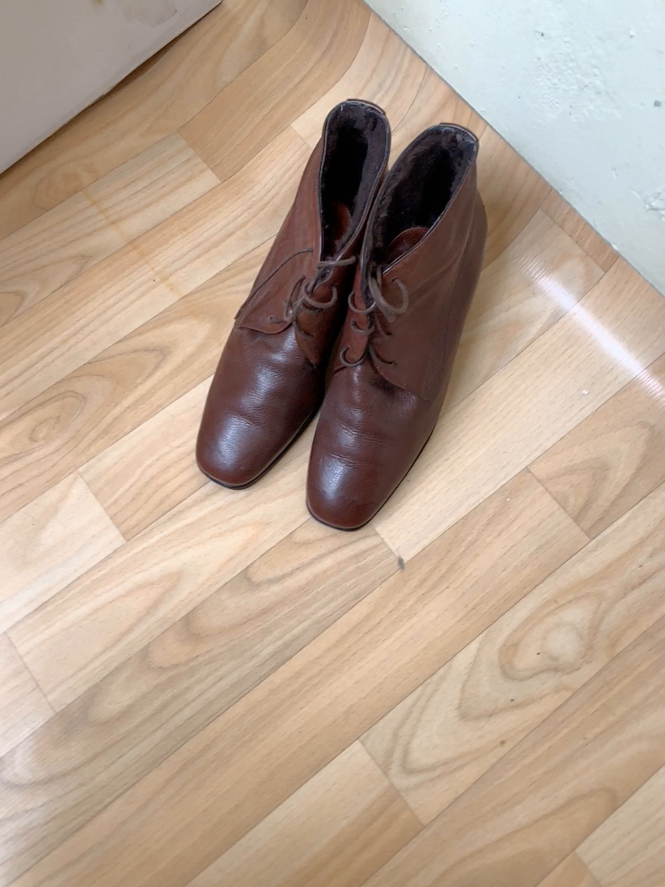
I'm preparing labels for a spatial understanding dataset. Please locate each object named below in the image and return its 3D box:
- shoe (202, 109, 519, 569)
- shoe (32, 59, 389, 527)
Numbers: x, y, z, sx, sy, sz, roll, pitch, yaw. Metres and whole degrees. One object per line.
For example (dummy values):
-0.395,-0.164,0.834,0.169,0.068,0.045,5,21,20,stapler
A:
0.022,-0.049,0.411,0.080,0.150,0.220,22,77,8,shoe
-0.053,-0.076,0.411,0.080,0.150,0.220,26,78,9,shoe
